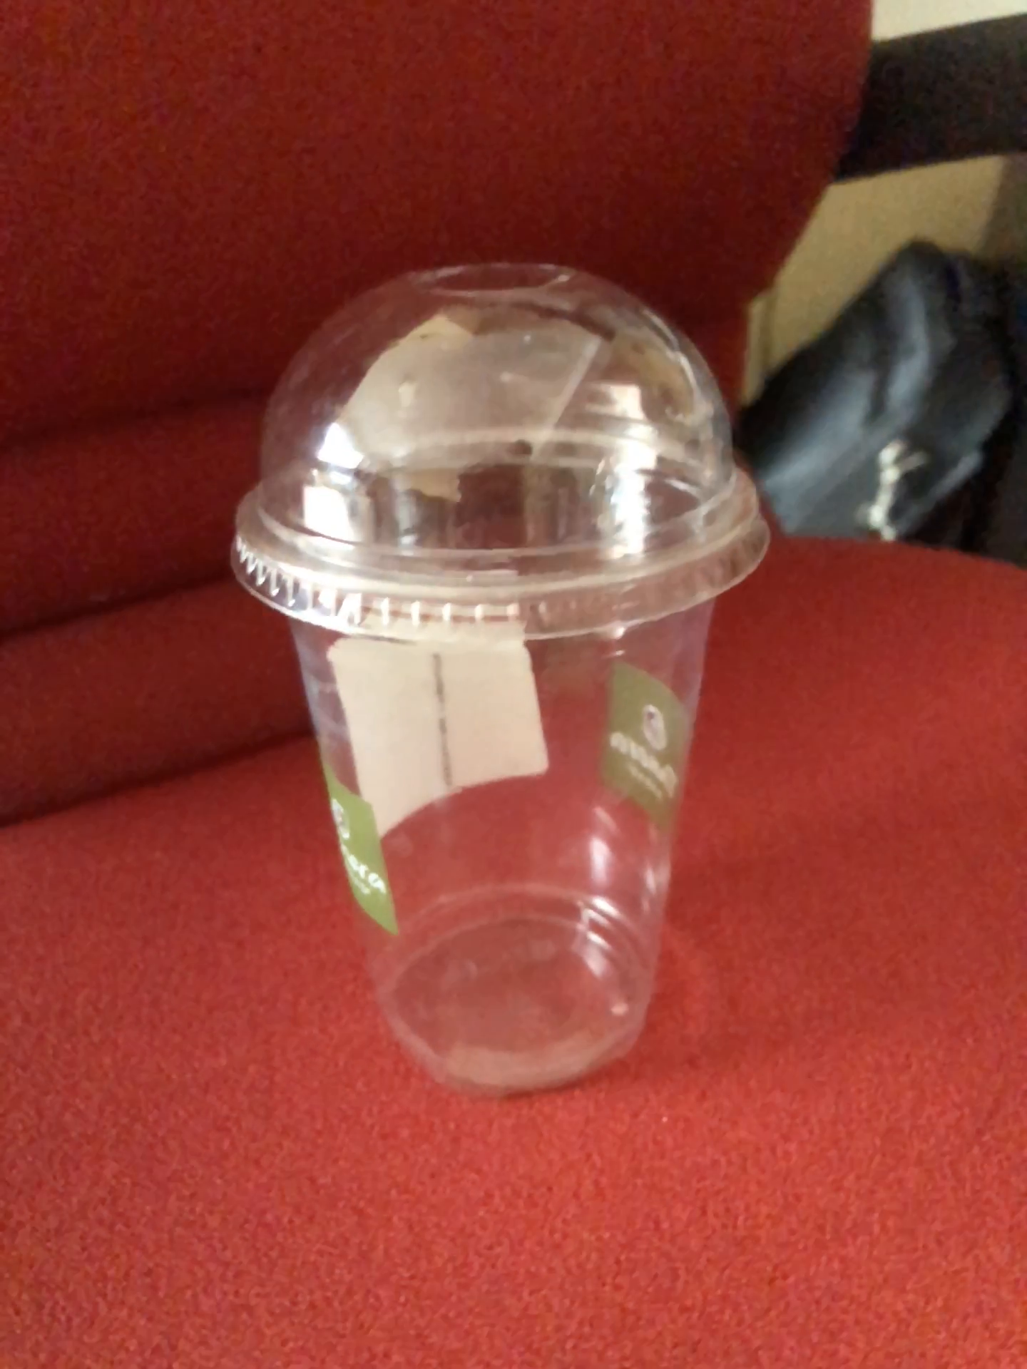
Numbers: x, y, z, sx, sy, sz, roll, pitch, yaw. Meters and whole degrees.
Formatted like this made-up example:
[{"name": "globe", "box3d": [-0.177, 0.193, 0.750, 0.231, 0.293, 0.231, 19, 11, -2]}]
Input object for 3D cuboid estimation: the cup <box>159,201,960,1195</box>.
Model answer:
[{"name": "cup", "box3d": [0.008, -0.008, 0.228, 0.100, 0.150, 0.090, -19, 31, -28]}]
